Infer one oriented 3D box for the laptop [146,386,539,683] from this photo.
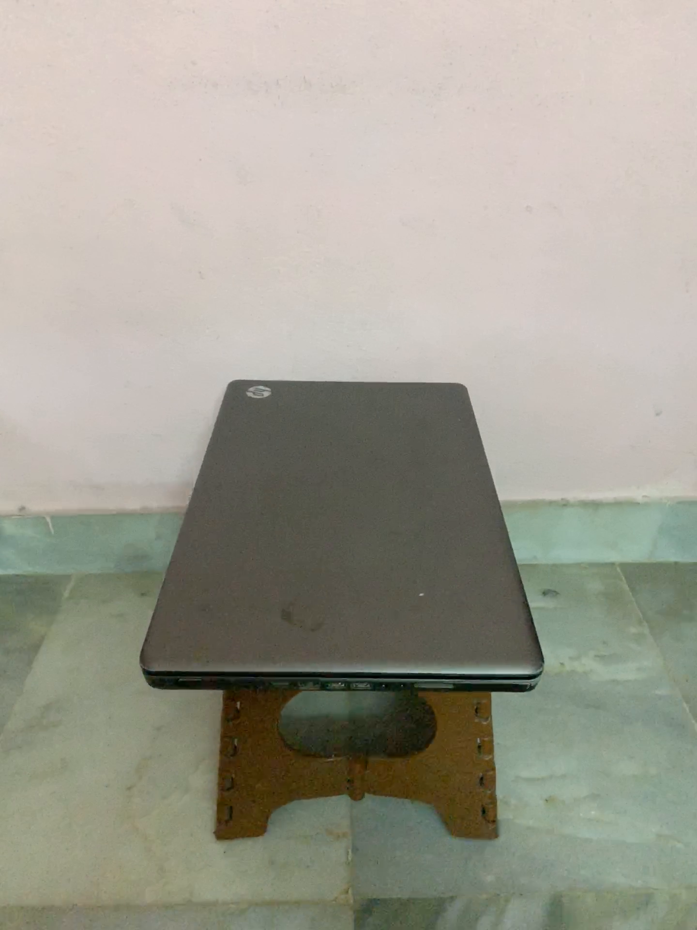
[{"bbox_3d":[-0.001,0.025,0.597,0.242,0.003,0.381,1,34,0],"label":"laptop"}]
